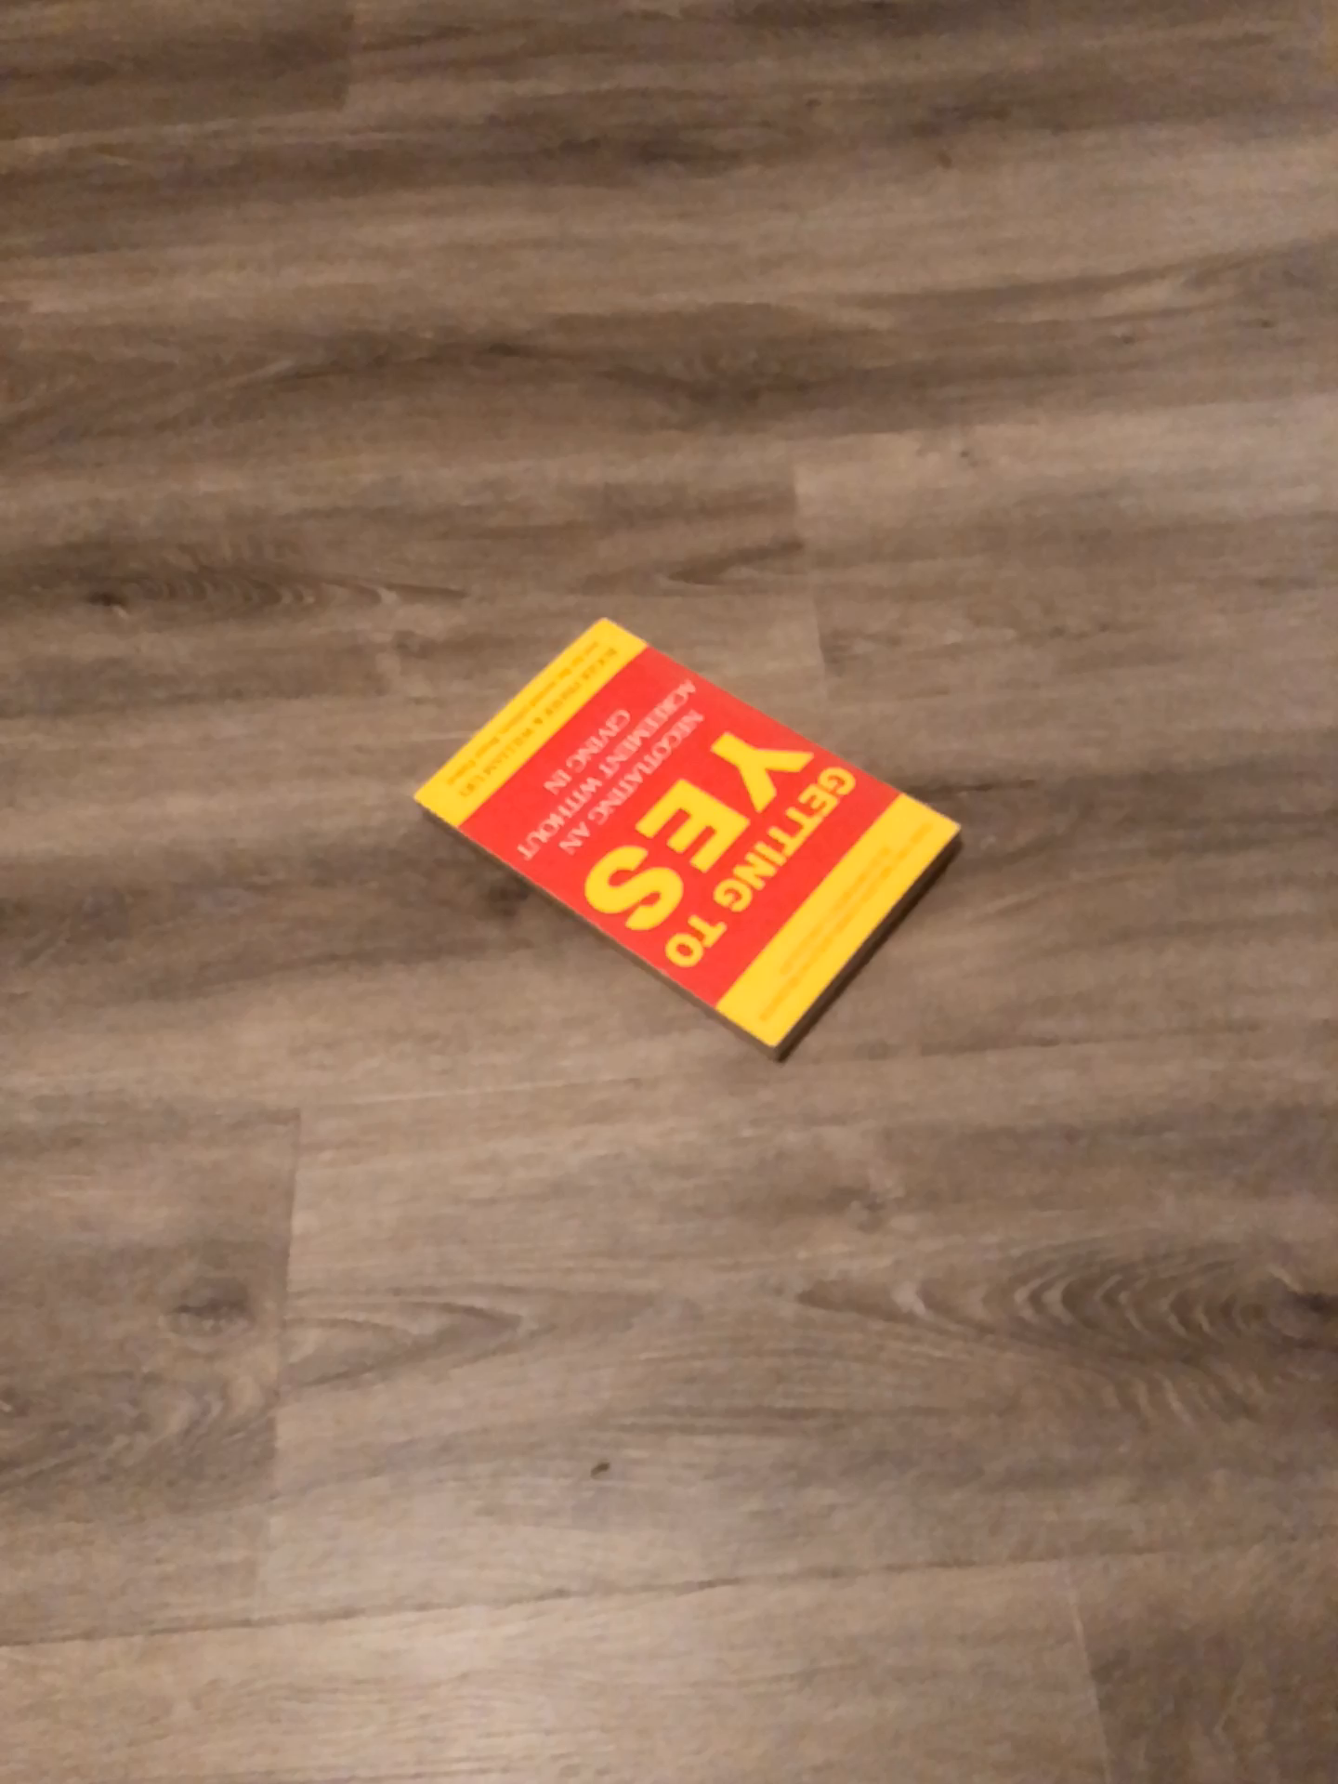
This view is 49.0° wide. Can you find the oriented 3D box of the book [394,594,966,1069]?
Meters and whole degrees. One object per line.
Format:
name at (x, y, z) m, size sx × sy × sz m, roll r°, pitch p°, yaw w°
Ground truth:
book at (0.003, -0.033, 0.598) m, size 0.190 × 0.026 × 0.130 m, roll 34°, pitch 65°, yaw 23°
